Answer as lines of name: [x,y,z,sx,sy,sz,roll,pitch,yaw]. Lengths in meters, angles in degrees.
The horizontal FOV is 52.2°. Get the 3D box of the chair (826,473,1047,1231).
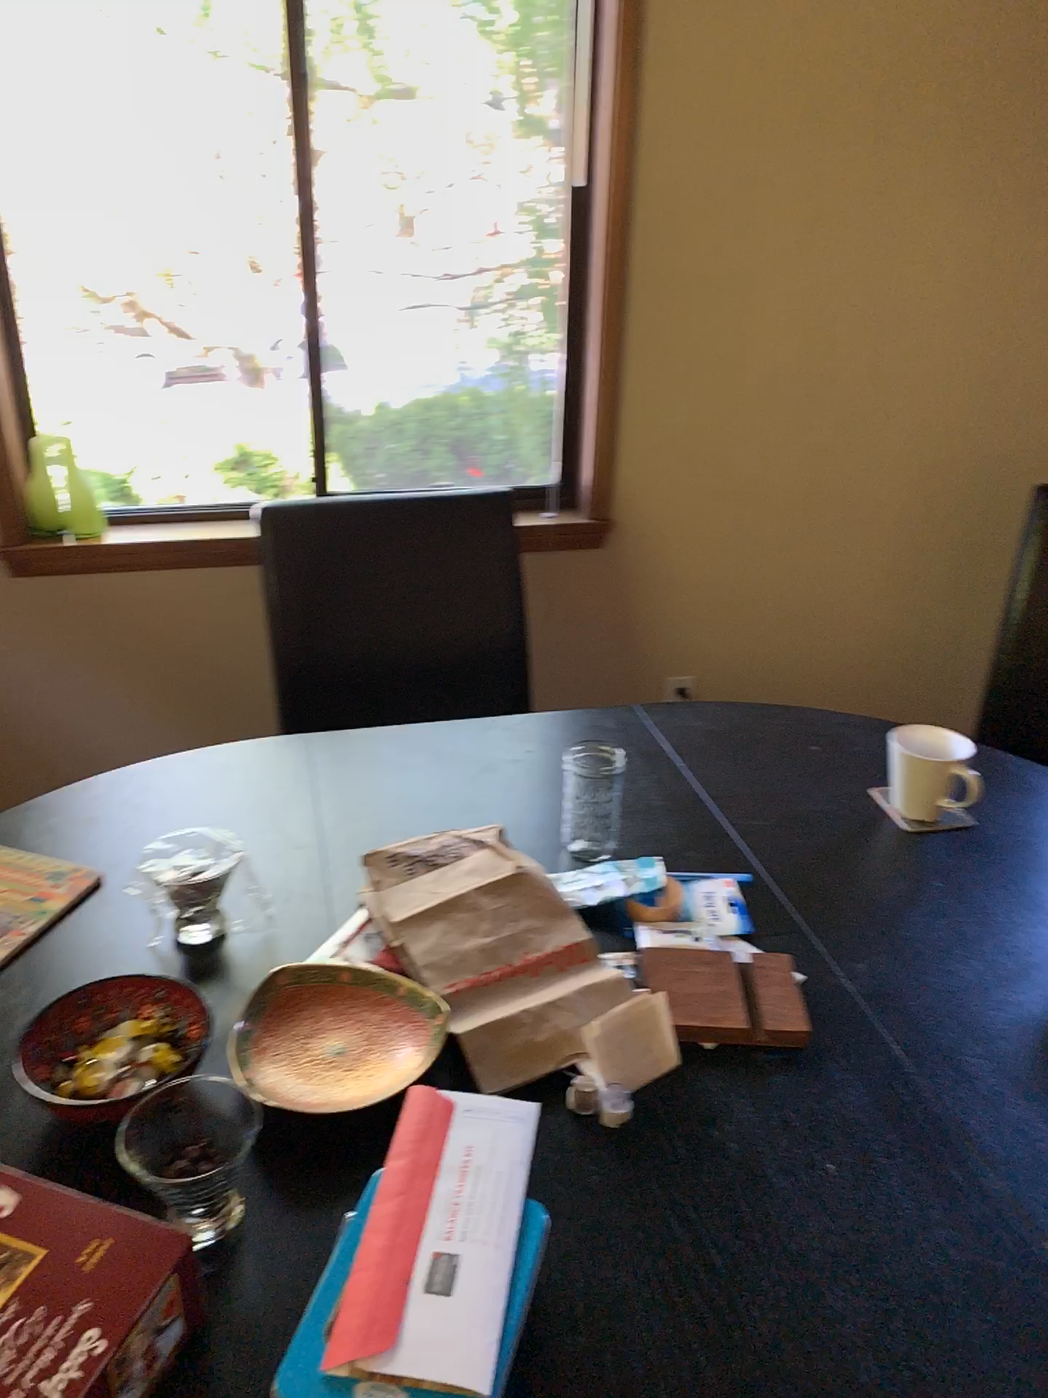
chair: [1.032,0.225,1.991,0.621,1.084,0.652,14,28,26]
